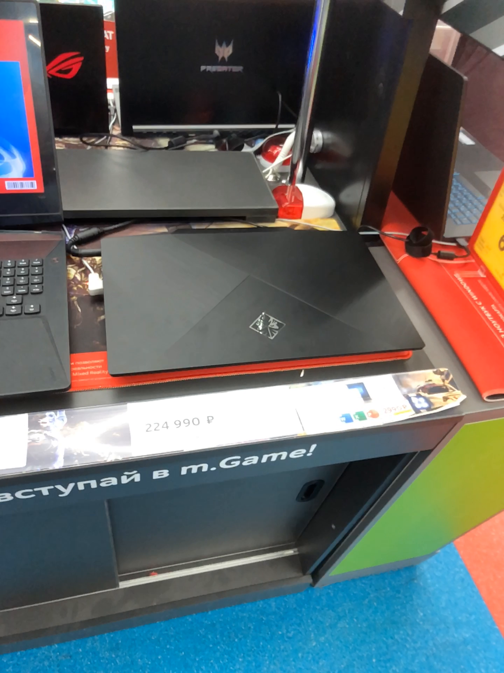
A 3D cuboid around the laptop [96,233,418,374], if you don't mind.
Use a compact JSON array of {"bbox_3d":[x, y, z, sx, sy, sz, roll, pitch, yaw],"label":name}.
[{"bbox_3d":[-0.005,-0.063,0.770,0.398,0.002,0.262,-4,45,-14],"label":"laptop"}]
